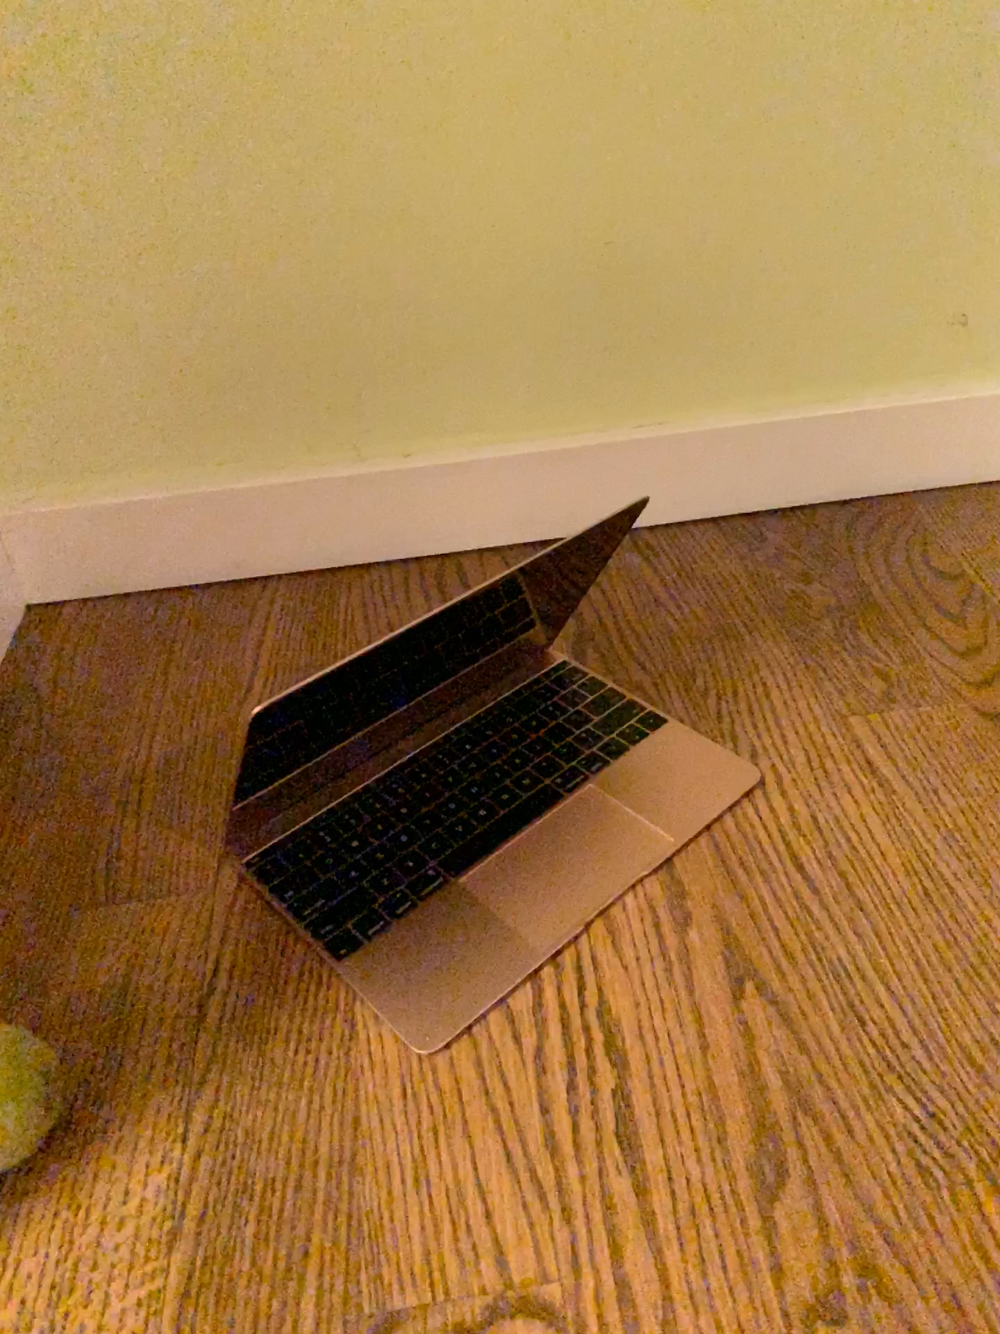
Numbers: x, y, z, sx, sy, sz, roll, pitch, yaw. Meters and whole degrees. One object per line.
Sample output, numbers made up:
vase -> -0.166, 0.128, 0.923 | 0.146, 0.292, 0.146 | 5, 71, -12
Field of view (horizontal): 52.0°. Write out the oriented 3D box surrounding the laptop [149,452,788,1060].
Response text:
laptop -> -0.008, 0.027, 0.611 | 0.289, 0.168, 0.207 | -32, 44, -31
